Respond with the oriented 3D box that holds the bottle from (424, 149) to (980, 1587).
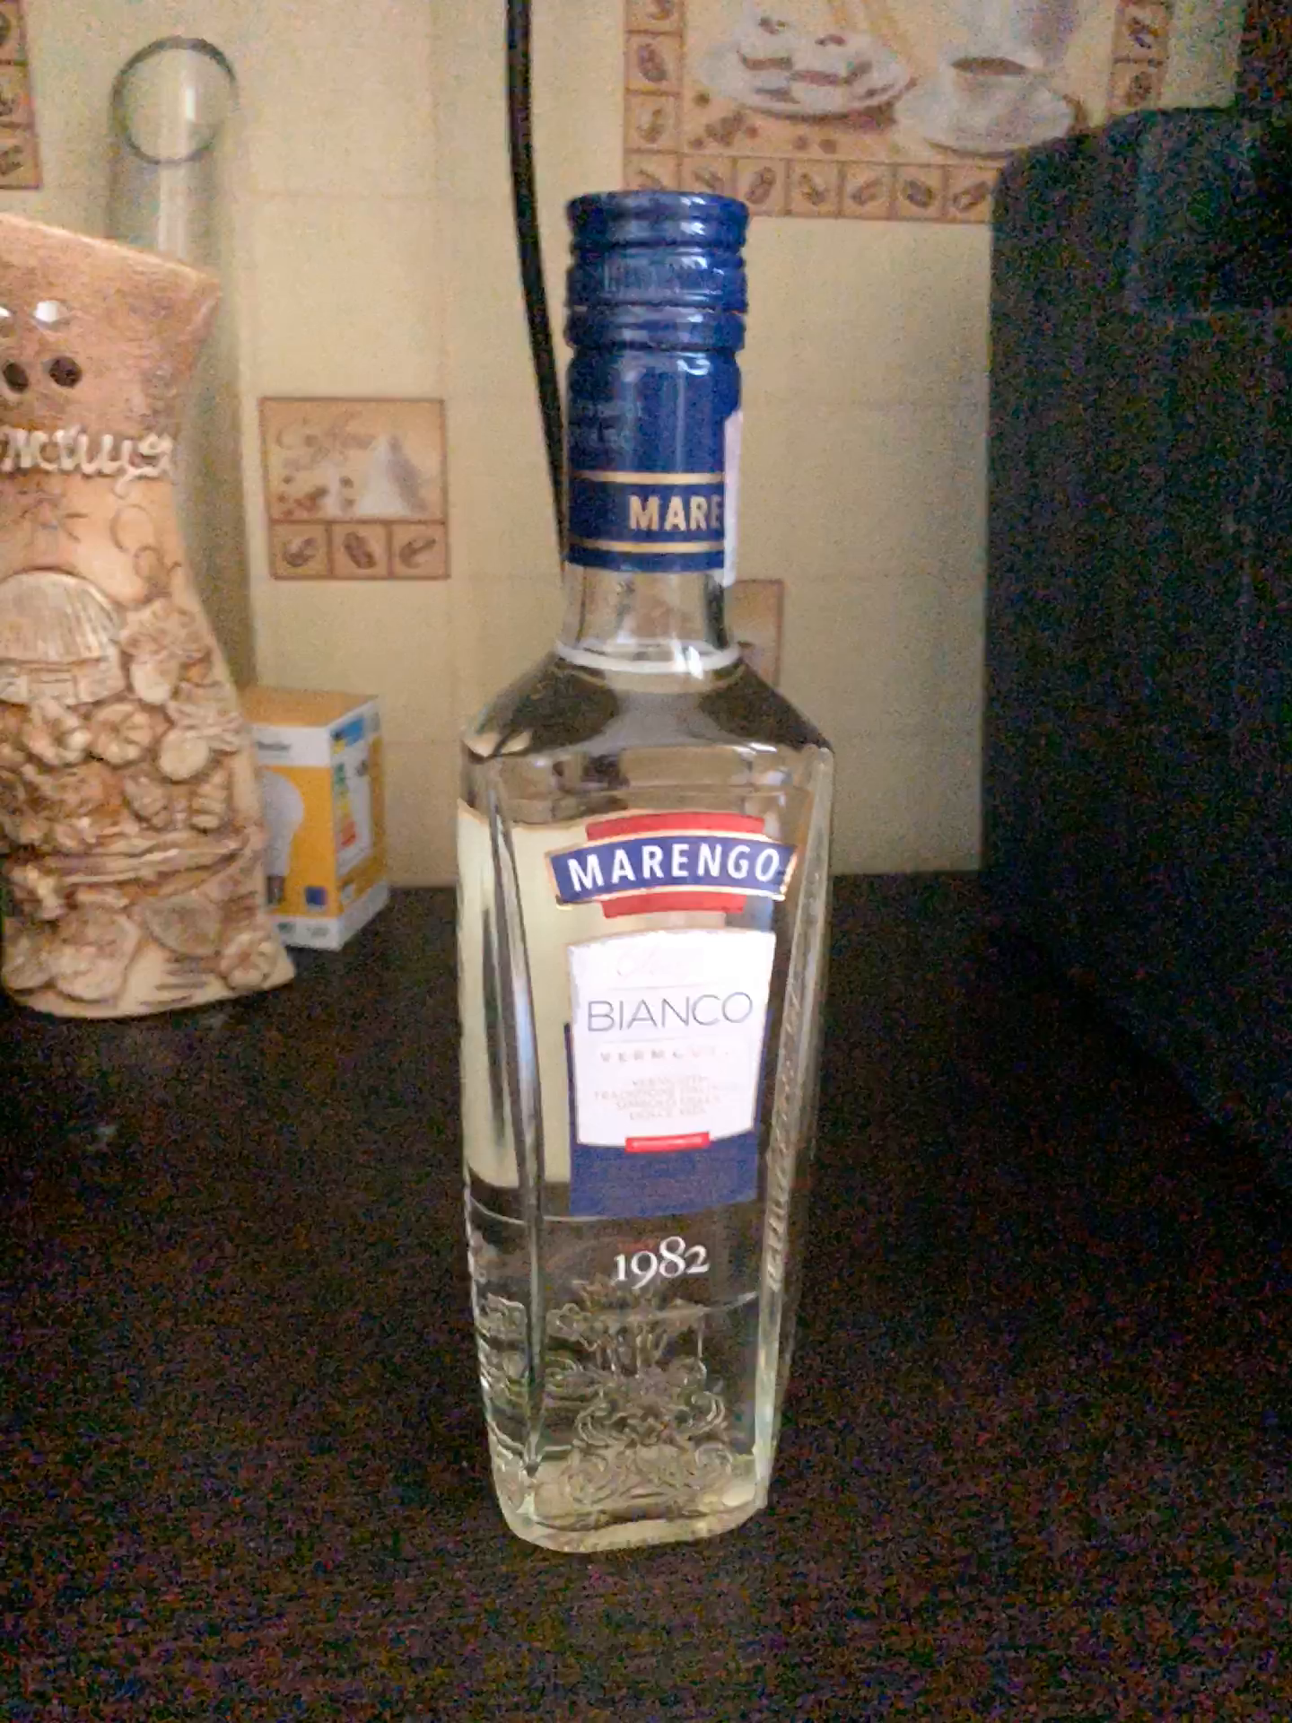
[{"bbox_3d":[0.003,0.017,0.284,0.090,0.289,0.050,-1,19,-9],"label":"bottle"}]
